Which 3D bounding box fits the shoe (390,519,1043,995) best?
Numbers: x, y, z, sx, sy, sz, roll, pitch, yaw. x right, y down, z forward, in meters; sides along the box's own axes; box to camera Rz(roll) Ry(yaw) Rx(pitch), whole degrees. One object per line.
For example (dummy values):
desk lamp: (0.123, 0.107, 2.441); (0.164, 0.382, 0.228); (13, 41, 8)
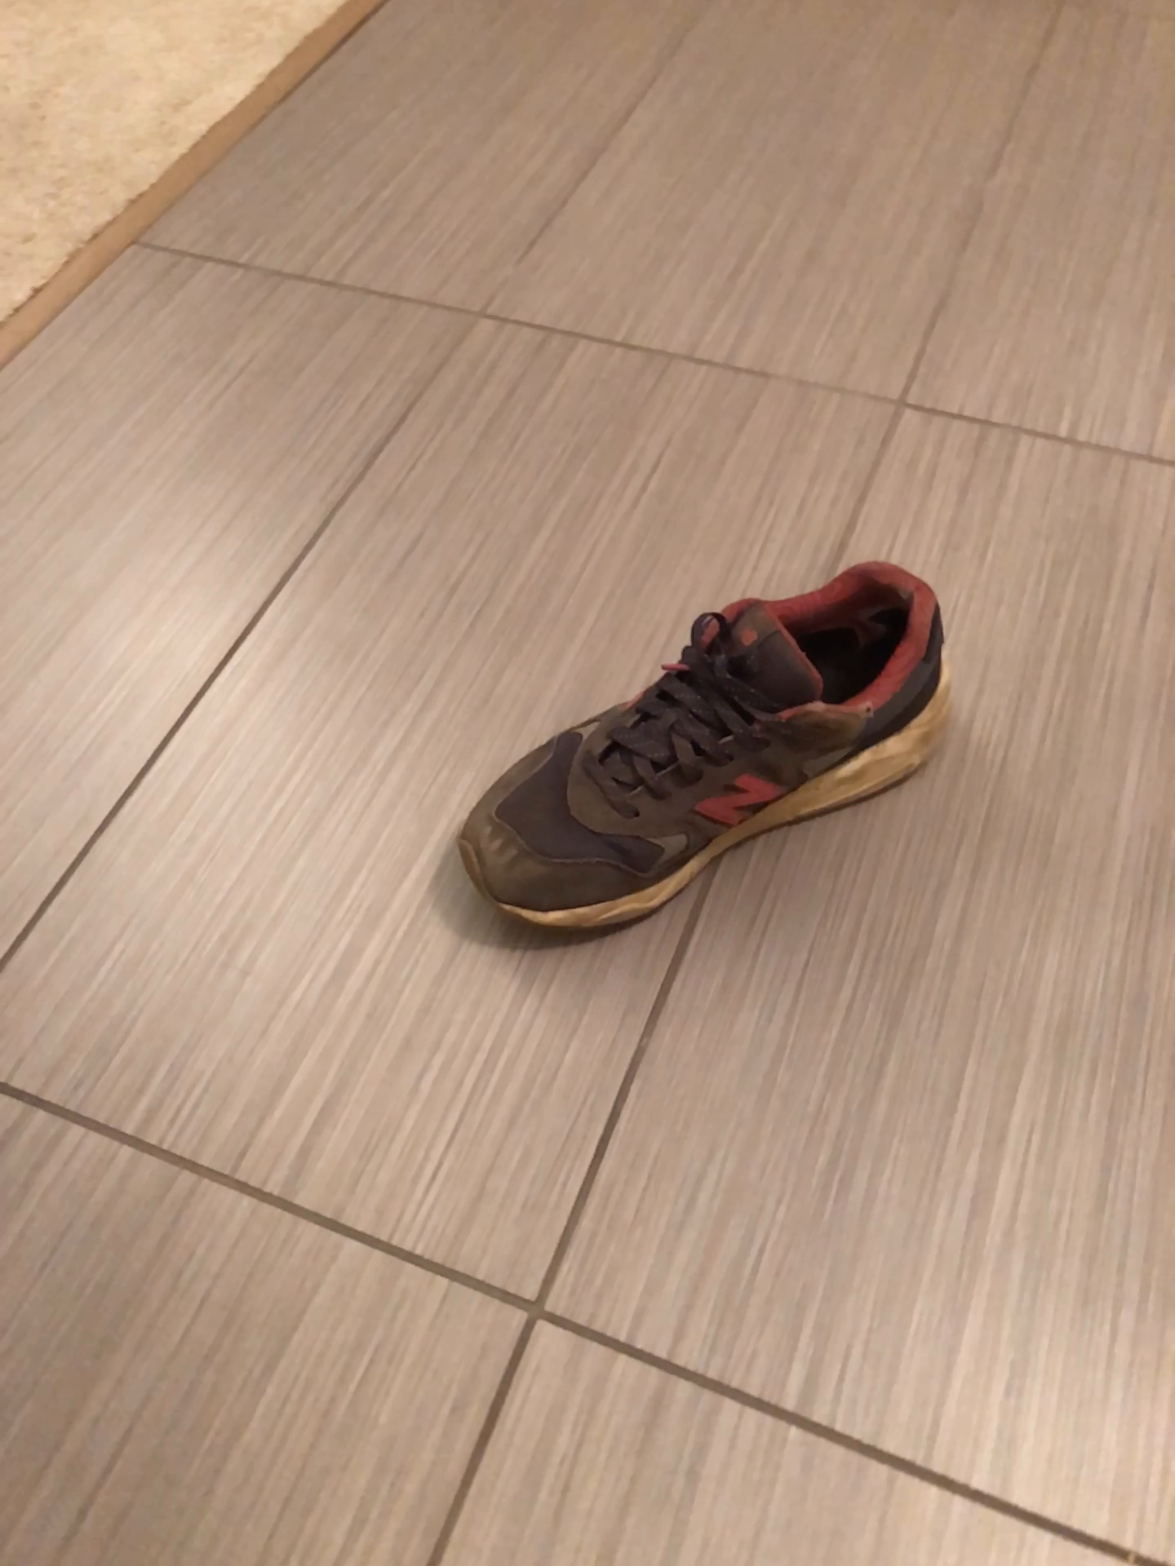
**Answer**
shoe: (0.059, -0.019, 0.612); (0.270, 0.070, 0.120); (-22, 56, -14)
